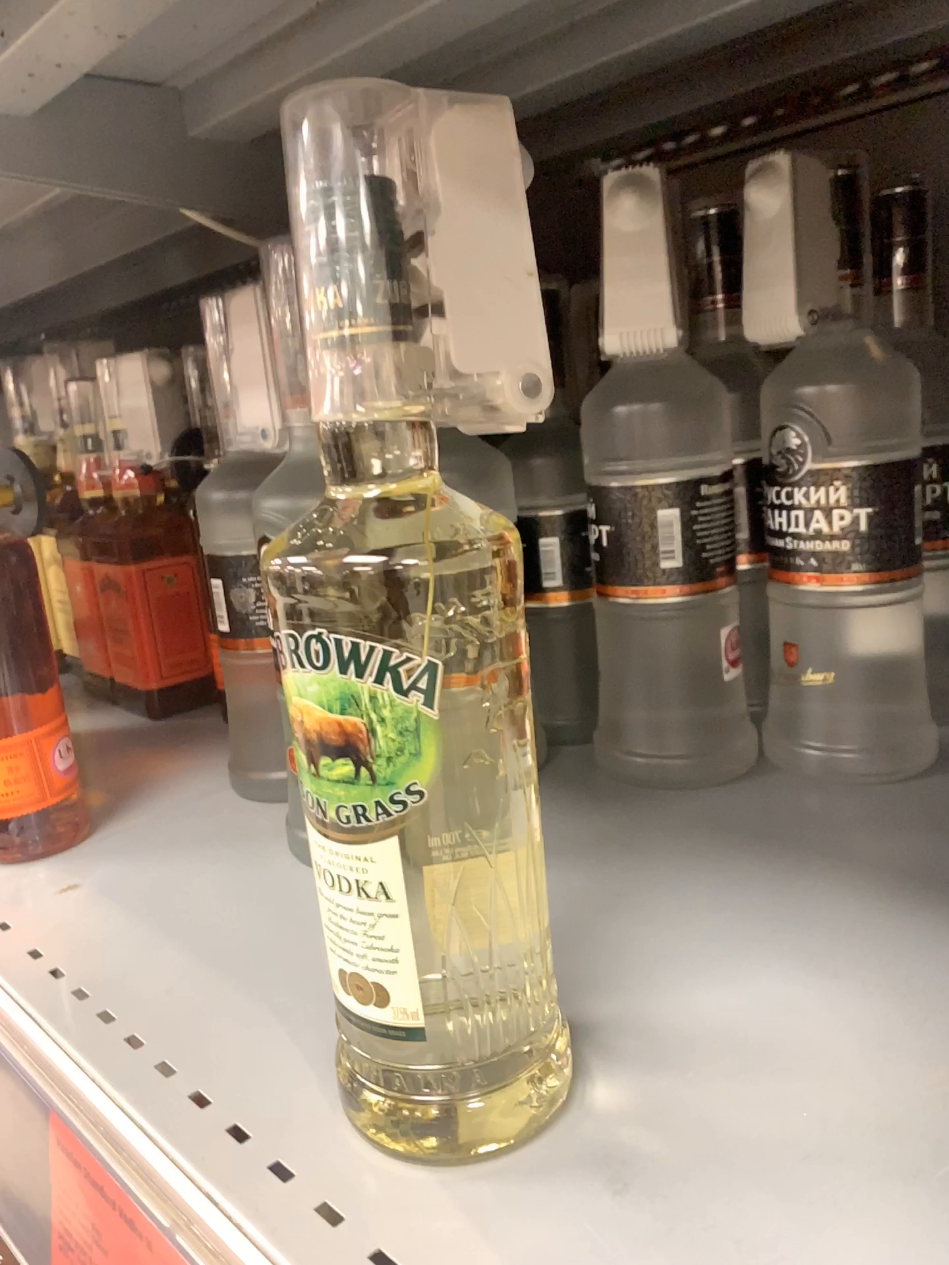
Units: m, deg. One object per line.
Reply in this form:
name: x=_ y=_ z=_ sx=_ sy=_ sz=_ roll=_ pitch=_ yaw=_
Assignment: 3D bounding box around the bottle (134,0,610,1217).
bottle: x=-0.023 y=-0.001 z=0.285 sx=0.076 sy=0.303 sz=0.069 roll=5 pitch=16 yaw=45
